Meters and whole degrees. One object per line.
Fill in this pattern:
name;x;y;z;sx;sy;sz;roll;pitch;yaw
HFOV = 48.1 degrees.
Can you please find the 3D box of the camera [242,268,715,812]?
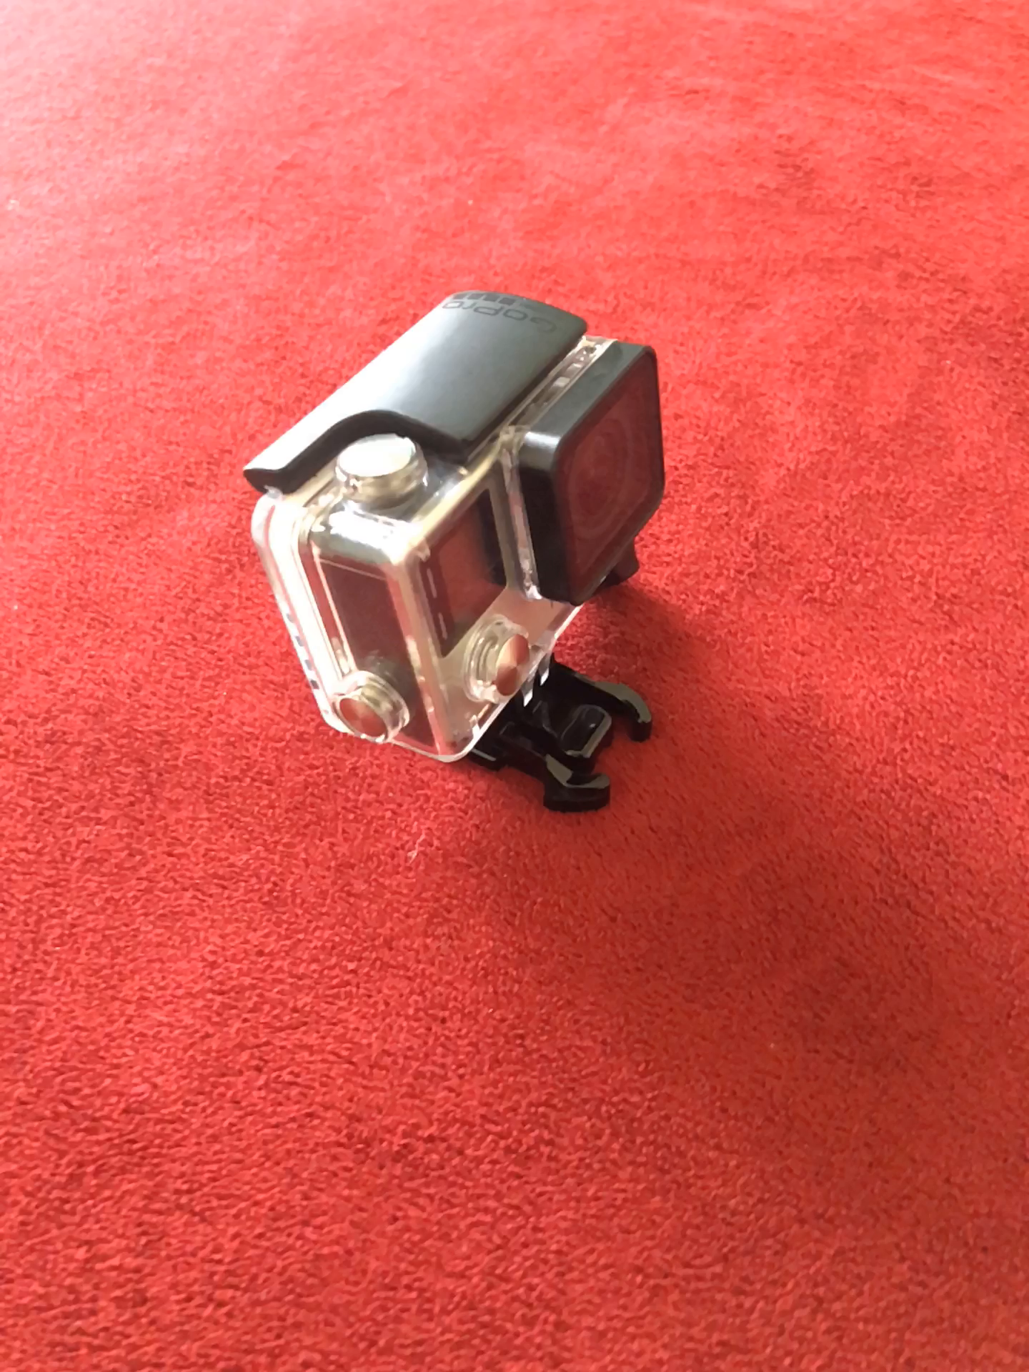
camera;0.000;-0.027;0.196;0.040;0.050;0.073;19;56;27
